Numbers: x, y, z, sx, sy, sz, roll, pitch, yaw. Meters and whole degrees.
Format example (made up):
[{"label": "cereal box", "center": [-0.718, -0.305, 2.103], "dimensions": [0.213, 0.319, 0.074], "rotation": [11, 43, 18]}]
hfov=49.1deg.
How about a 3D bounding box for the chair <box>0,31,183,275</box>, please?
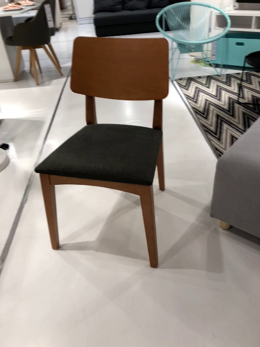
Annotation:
[{"label": "chair", "center": [-0.087, -0.109, 1.228], "dimensions": [0.530, 0.804, 0.584], "rotation": [6, 36, 16]}]
